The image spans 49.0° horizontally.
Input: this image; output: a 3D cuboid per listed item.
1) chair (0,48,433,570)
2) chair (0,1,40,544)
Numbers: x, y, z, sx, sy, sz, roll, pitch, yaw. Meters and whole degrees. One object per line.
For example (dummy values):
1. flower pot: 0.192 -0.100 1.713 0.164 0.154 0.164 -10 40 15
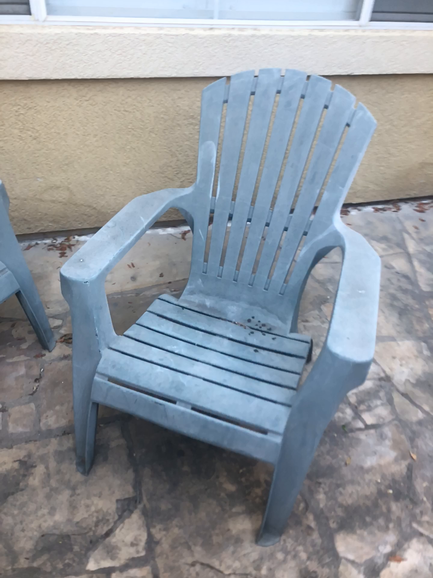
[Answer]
1. chair: 0.054 -0.045 1.276 0.690 0.883 0.928 15 37 12
2. chair: -1.282 -0.104 1.405 0.910 1.221 0.746 15 39 24
